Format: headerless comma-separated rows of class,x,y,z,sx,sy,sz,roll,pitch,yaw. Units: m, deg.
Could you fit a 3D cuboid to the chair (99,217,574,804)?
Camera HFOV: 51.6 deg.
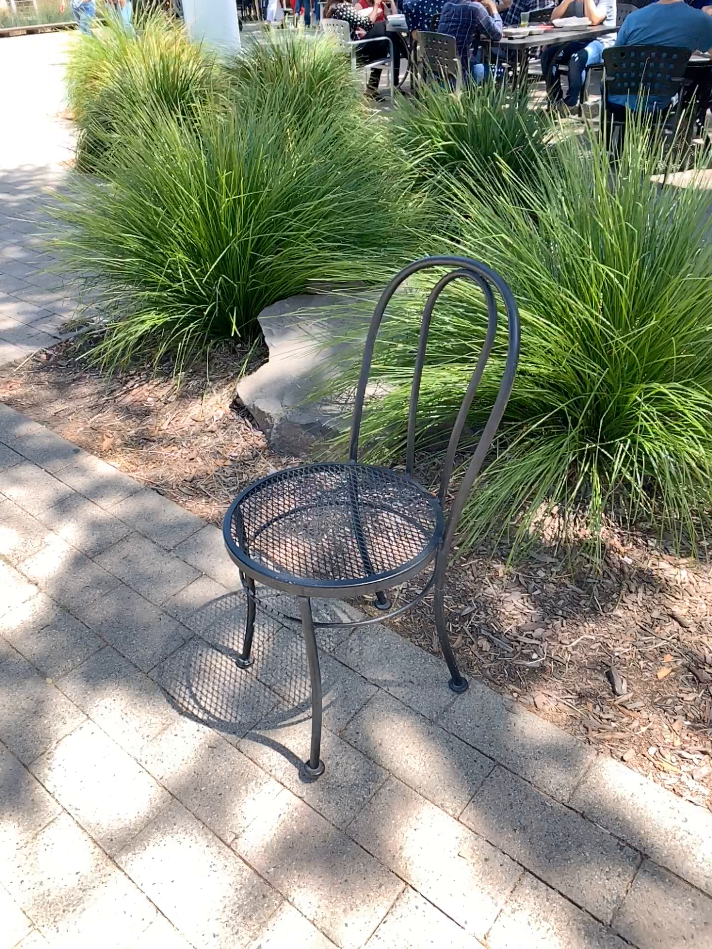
chair,-0.031,0.043,1.320,0.537,0.788,0.473,-22,39,-26
